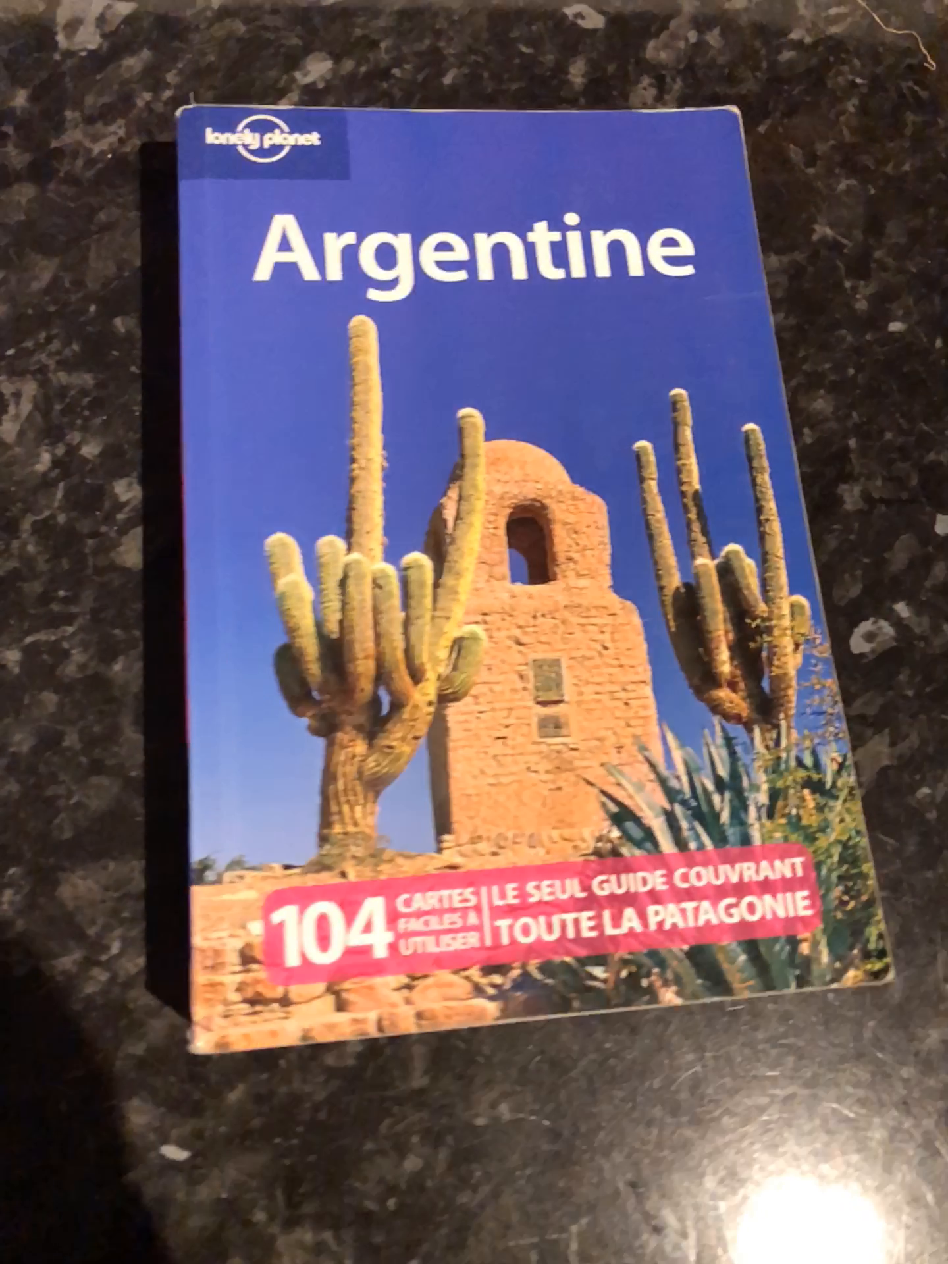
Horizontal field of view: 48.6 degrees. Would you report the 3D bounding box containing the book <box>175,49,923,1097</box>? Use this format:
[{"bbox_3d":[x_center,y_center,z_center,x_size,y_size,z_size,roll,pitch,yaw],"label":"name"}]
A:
[{"bbox_3d":[0.007,-0.024,0.222,0.130,0.030,0.210,-3,75,-8],"label":"book"}]
